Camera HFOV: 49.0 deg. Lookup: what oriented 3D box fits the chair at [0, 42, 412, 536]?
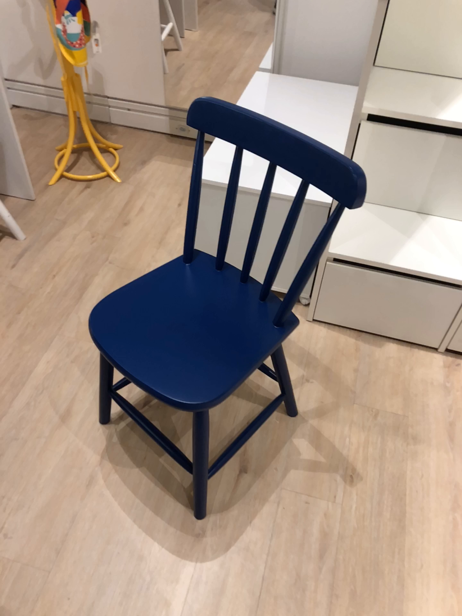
[{"bbox_3d":[-0.065,-0.007,1.071,0.461,0.805,0.482,36,55,27],"label":"chair"}]
